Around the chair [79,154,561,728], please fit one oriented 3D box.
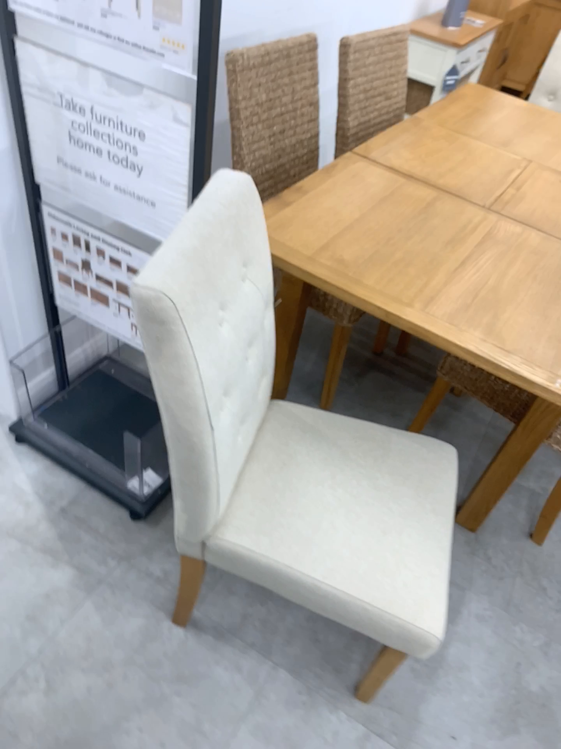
[{"bbox_3d":[0.067,0.181,1.038,0.610,0.872,0.424,15,43,4],"label":"chair"}]
